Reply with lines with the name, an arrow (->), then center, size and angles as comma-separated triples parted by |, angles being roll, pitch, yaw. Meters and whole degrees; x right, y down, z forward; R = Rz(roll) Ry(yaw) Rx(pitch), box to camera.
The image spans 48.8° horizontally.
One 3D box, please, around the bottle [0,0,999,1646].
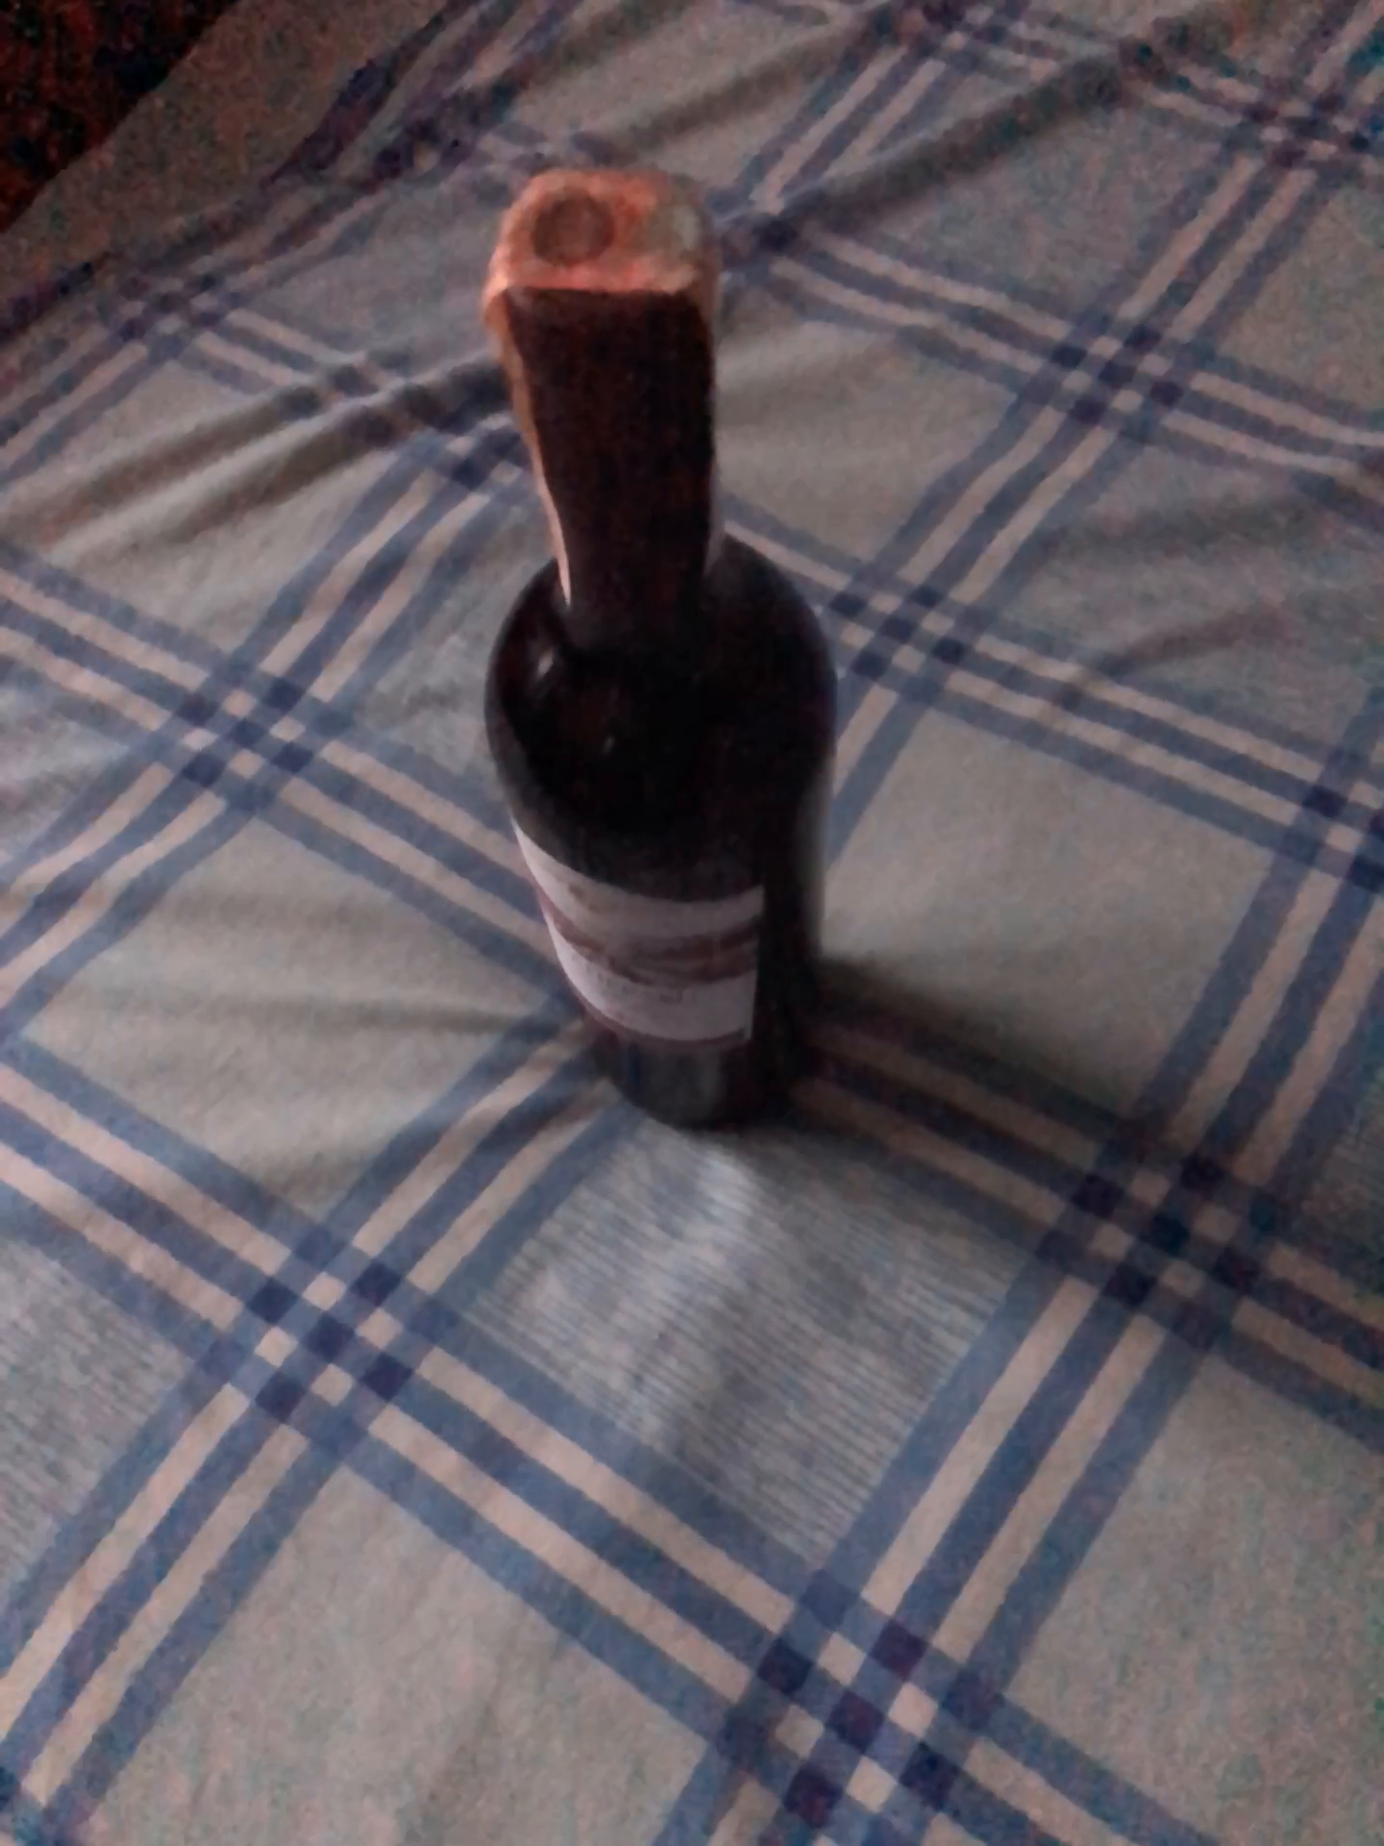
bottle -> -0.026, 0.036, 0.219 | 0.071, 0.305, 0.081 | -29, 63, -11
